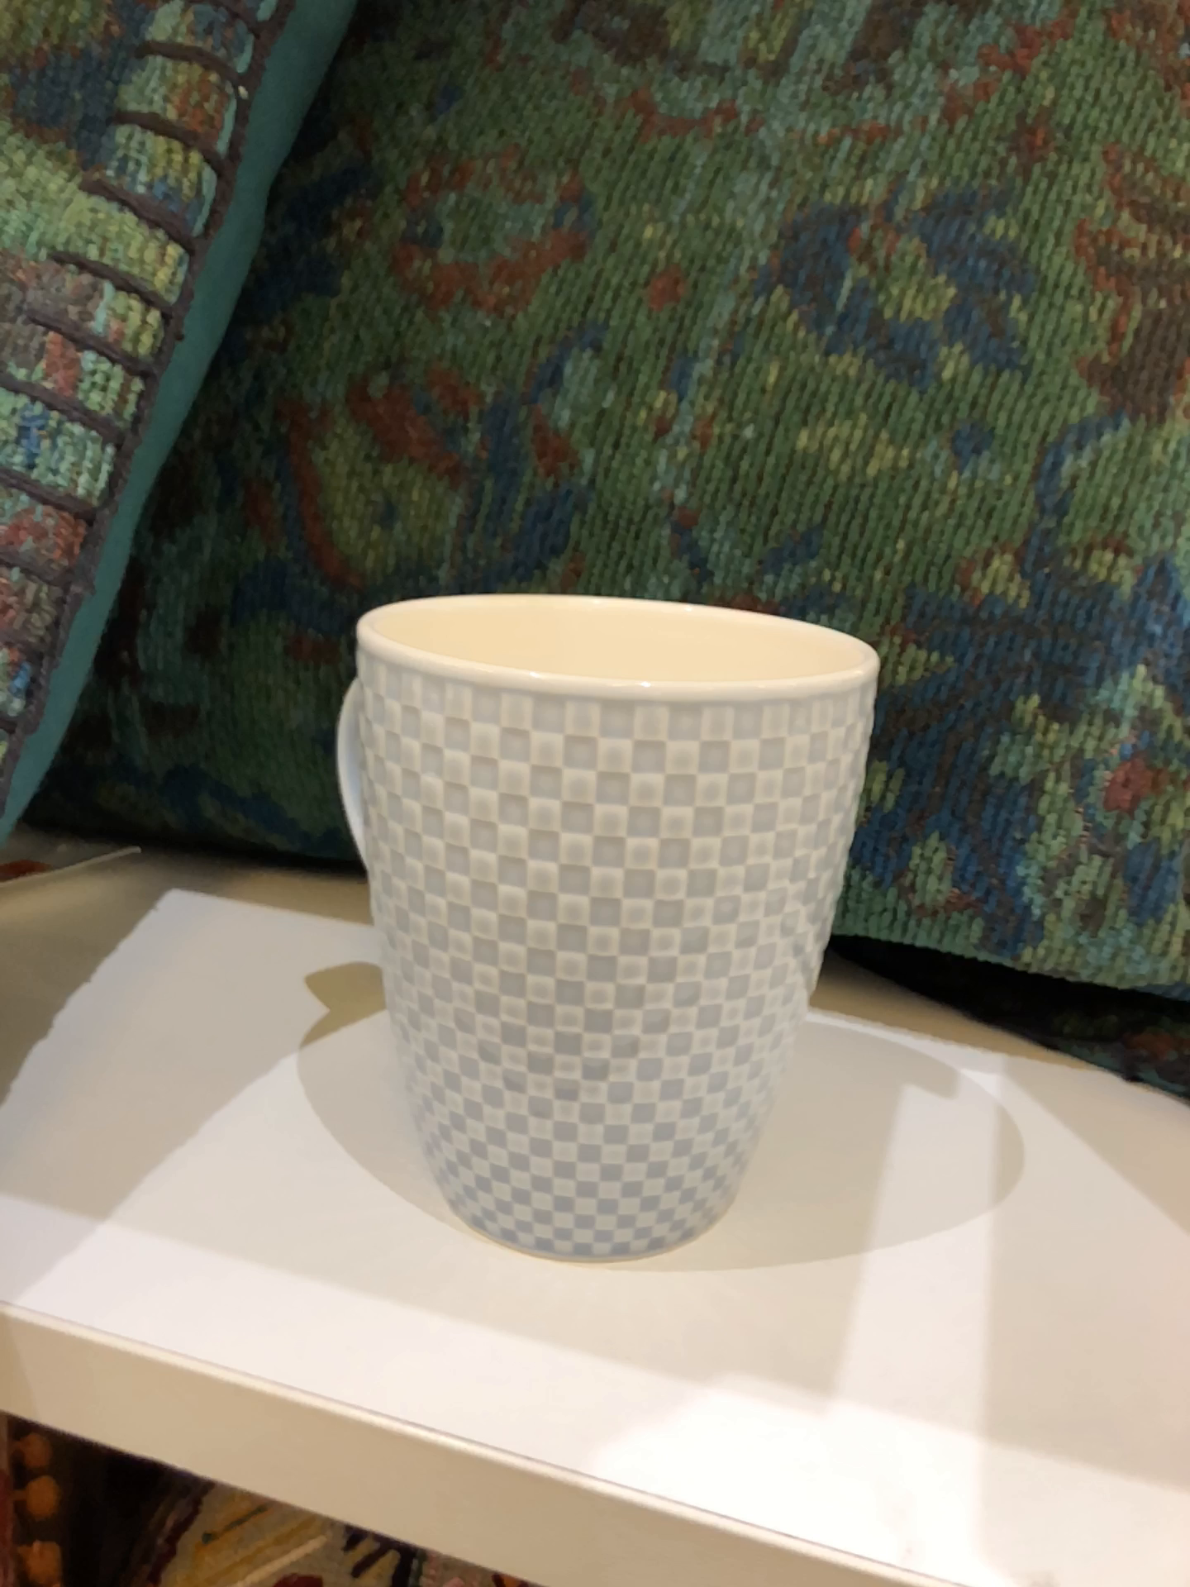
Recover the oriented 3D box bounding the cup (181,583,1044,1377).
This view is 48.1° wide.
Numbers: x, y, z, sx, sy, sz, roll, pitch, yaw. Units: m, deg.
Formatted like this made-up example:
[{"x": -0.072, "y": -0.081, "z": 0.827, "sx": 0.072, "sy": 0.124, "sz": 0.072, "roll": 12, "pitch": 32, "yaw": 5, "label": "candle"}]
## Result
[{"x": -0.001, "y": 0.014, "z": 0.217, "sx": 0.090, "sy": 0.080, "sz": 0.100, "roll": -12, "pitch": 21, "yaw": -42, "label": "cup"}]
